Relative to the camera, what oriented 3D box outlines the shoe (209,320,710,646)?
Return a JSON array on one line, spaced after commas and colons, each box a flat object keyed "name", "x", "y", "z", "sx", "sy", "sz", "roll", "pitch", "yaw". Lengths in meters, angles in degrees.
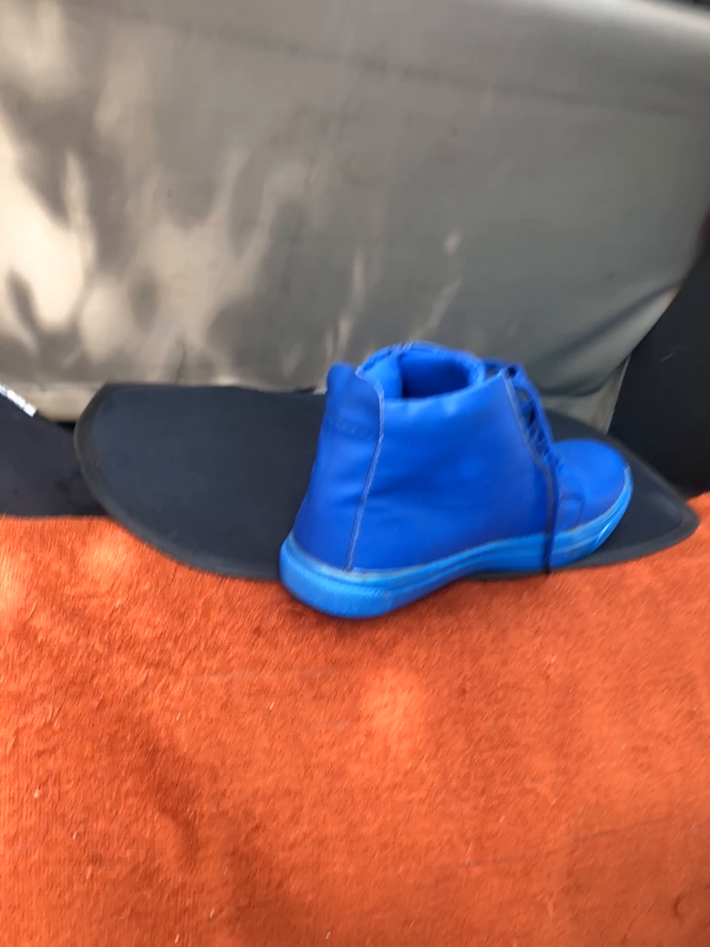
[{"name": "shoe", "x": 0.077, "y": -0.016, "z": 0.504, "sx": 0.301, "sy": 0.119, "sz": 0.130, "roll": -10, "pitch": 33, "yaw": -35}]
